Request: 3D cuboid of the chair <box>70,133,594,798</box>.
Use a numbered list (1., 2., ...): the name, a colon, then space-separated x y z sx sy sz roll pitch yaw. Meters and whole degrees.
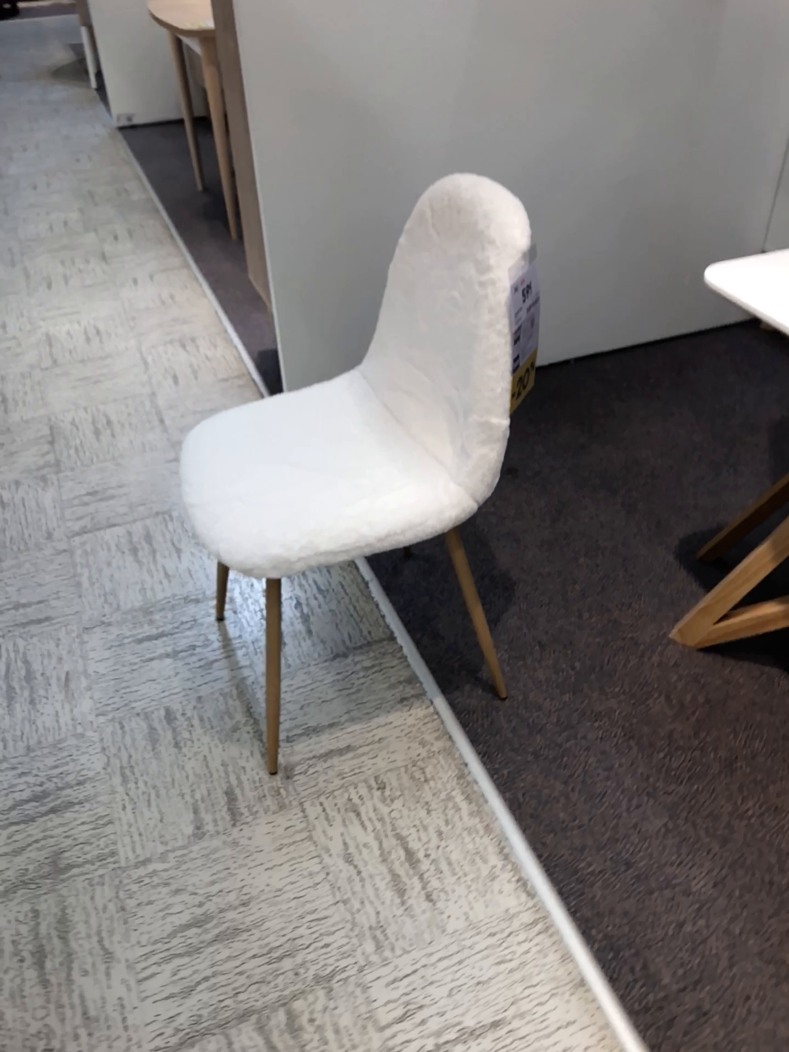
1. chair: -0.103 -0.107 1.407 0.551 0.815 0.522 -17 40 -18
